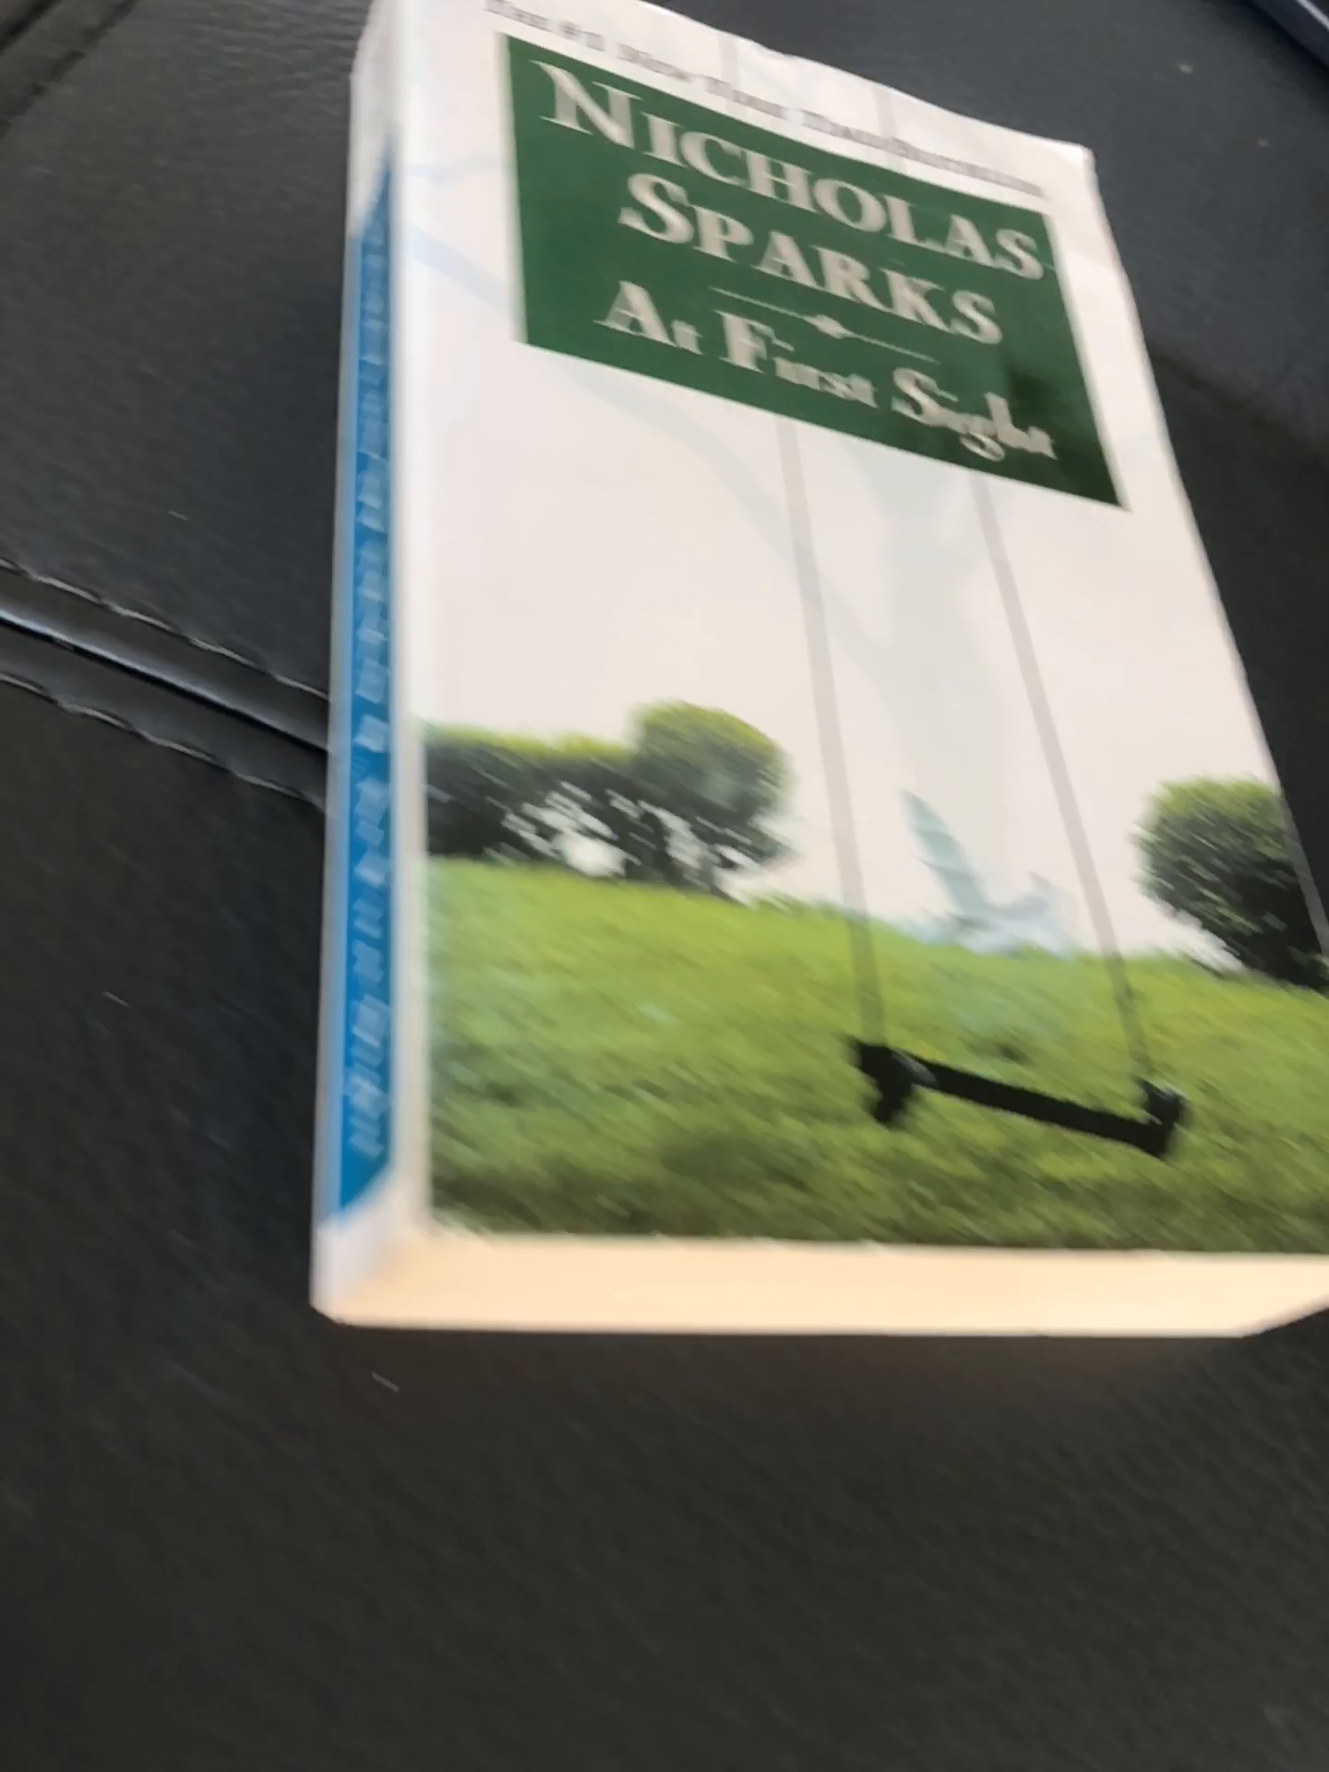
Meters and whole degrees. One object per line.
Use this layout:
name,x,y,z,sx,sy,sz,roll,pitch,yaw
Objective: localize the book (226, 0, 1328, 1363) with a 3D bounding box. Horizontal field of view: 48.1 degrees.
book,0.016,-0.042,0.185,0.121,0.030,0.190,8,60,-24
